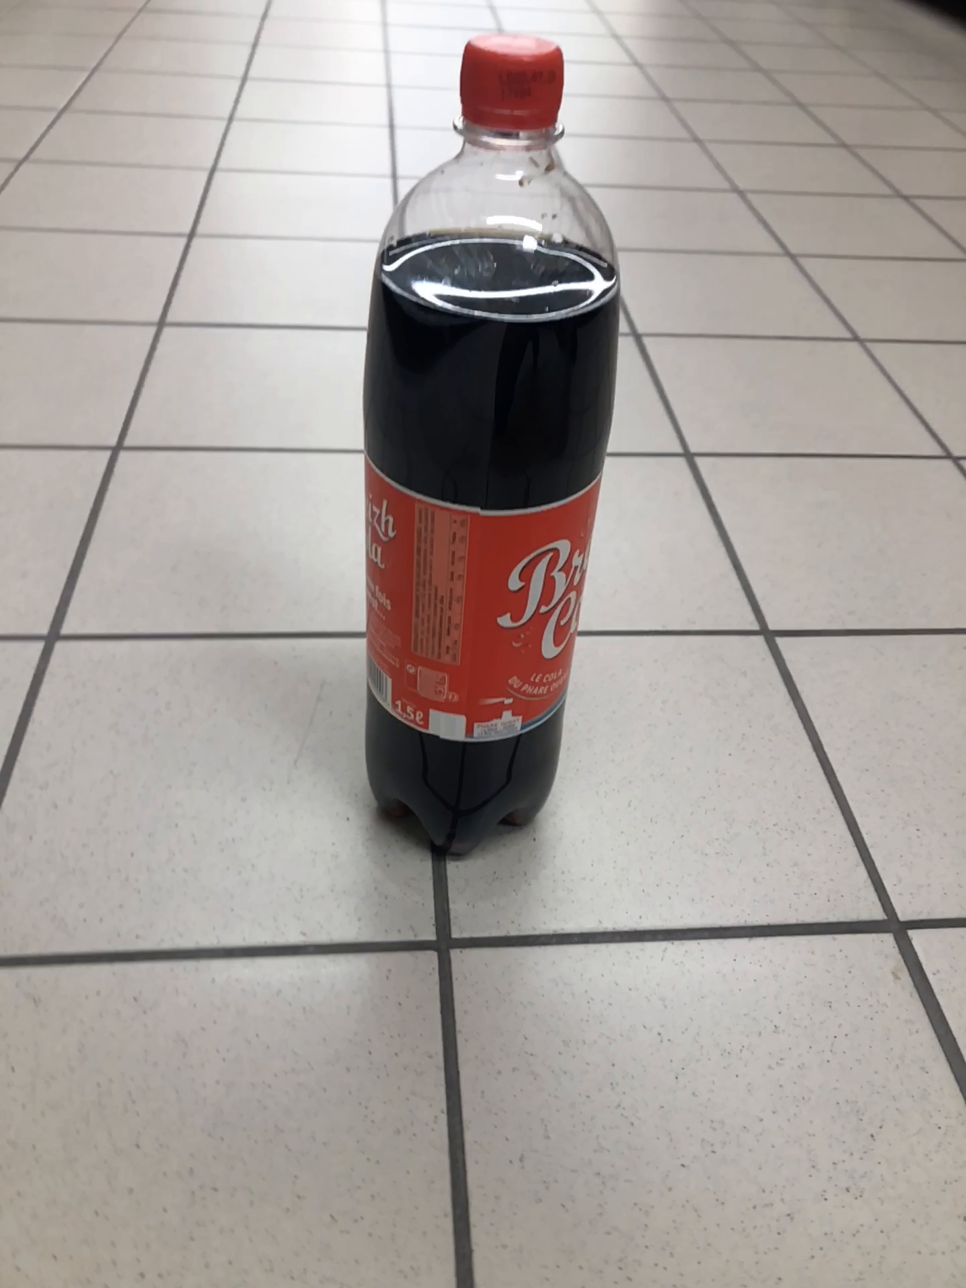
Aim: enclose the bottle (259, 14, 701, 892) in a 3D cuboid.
[{"bbox_3d":[-0.006,-0.055,0.415,0.100,0.308,0.101,3,39,-2],"label":"bottle"}]
